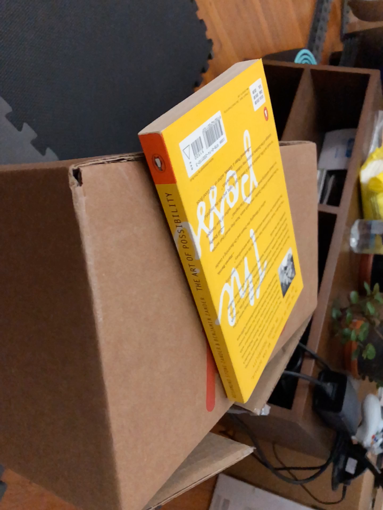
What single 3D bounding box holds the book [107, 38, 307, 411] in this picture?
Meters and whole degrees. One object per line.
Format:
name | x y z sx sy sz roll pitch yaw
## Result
book | 0.034 -0.020 0.300 0.151 0.020 0.210 -50 132 -42
